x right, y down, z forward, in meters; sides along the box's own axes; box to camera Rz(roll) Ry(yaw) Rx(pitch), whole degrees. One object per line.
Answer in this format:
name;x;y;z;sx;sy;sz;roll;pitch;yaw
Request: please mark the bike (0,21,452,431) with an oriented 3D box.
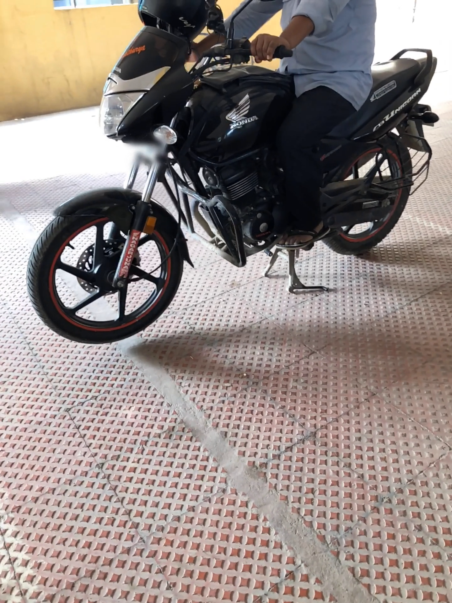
bike;0.107;-0.485;2.071;1.890;1.009;0.787;-22;36;-24
